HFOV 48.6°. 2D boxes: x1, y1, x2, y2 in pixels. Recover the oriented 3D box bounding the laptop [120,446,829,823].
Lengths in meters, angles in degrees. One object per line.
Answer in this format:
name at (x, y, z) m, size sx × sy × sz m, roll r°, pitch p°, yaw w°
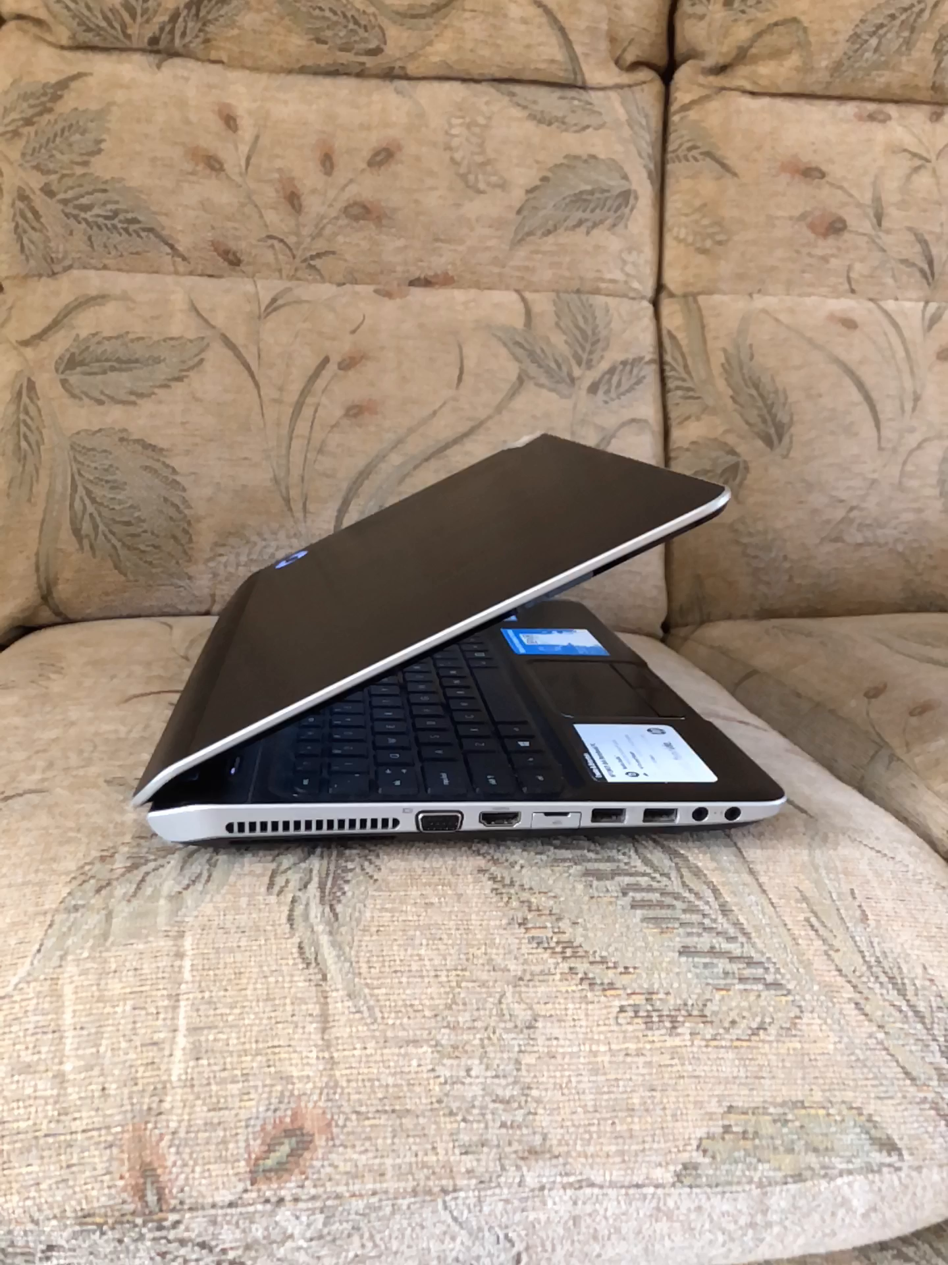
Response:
laptop at (-0.020, -0.032, 0.582) m, size 0.253 × 0.113 × 0.398 m, roll -1°, pitch 14°, yaw -8°
